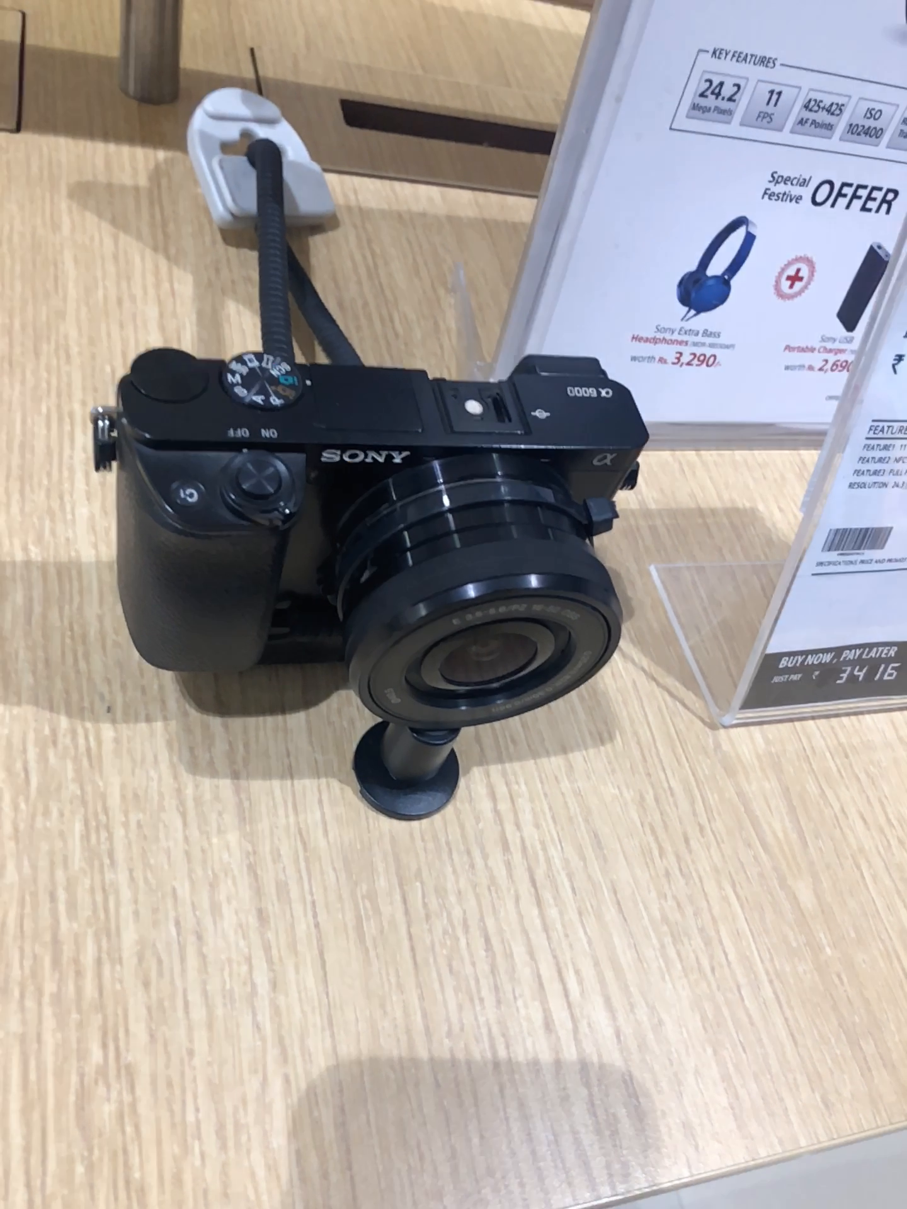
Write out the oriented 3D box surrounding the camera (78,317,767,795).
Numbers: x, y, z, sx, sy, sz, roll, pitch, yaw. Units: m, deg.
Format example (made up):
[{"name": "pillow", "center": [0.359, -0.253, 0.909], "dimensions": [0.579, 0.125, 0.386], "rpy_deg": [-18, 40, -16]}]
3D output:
[{"name": "camera", "center": [-0.013, -0.012, 0.231], "dimensions": [0.130, 0.070, 0.070], "rpy_deg": [-4, 55, -21]}]
